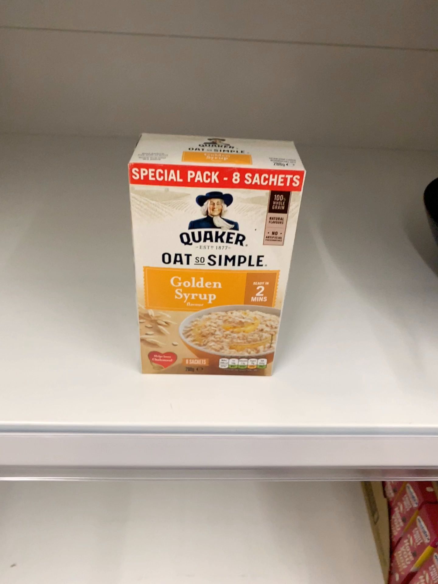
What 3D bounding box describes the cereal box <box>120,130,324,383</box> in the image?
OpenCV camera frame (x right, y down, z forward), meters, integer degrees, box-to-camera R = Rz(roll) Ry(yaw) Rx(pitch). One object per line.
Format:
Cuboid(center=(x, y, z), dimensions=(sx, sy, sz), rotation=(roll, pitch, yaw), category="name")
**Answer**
Cuboid(center=(-0.004, -0.022, 0.397), dimensions=(0.140, 0.208, 0.071), rotation=(1, 34, -3), category="cereal box")
